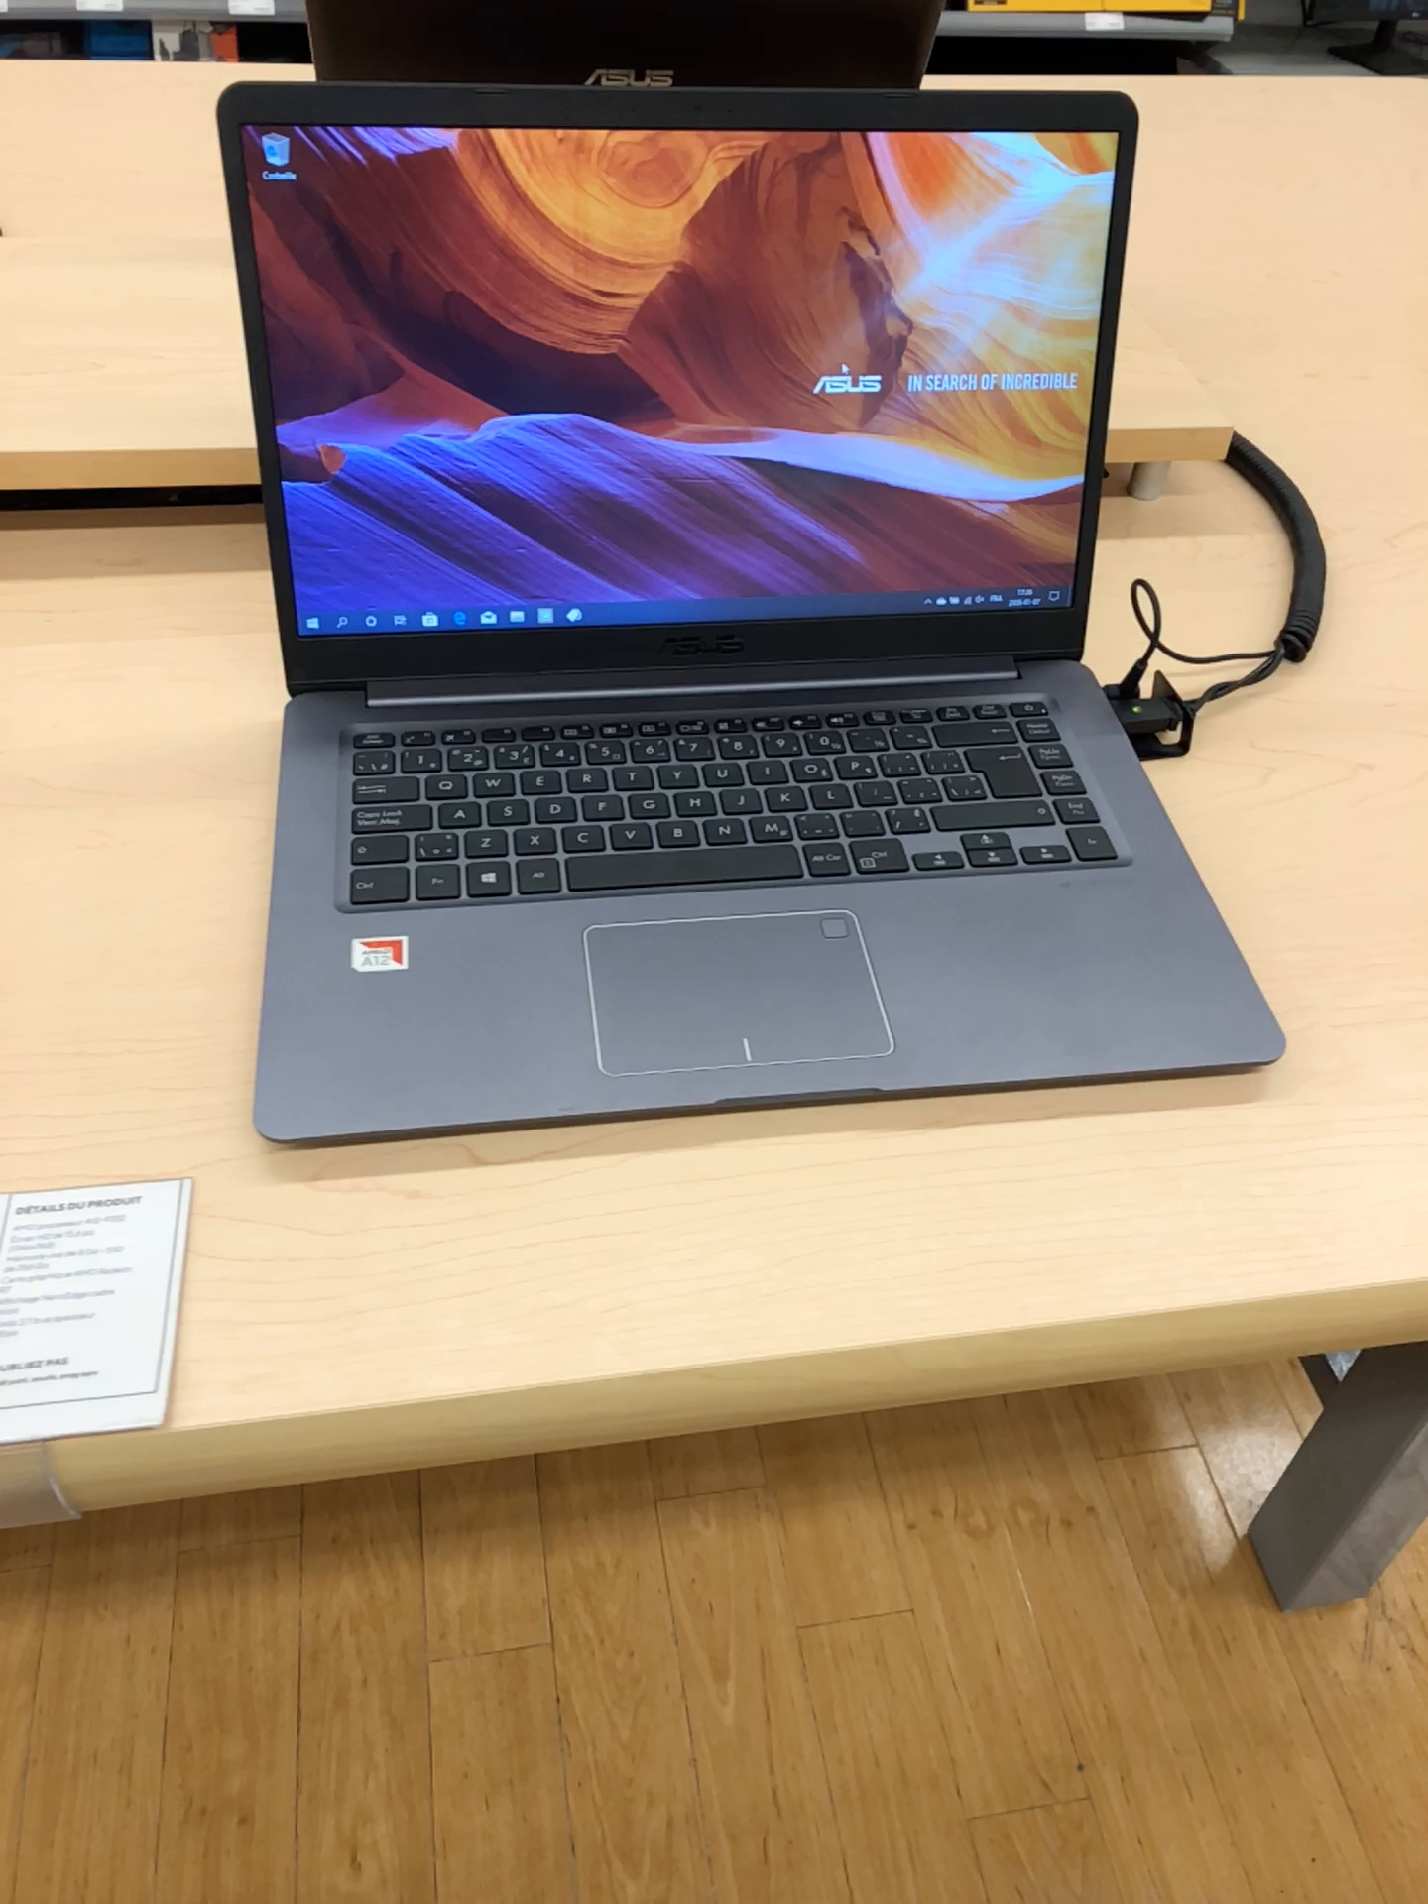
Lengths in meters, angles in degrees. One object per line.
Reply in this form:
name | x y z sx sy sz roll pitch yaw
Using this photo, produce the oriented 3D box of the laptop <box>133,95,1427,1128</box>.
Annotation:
laptop | 0.011 -0.143 0.584 0.361 0.223 0.319 -4 45 -9
